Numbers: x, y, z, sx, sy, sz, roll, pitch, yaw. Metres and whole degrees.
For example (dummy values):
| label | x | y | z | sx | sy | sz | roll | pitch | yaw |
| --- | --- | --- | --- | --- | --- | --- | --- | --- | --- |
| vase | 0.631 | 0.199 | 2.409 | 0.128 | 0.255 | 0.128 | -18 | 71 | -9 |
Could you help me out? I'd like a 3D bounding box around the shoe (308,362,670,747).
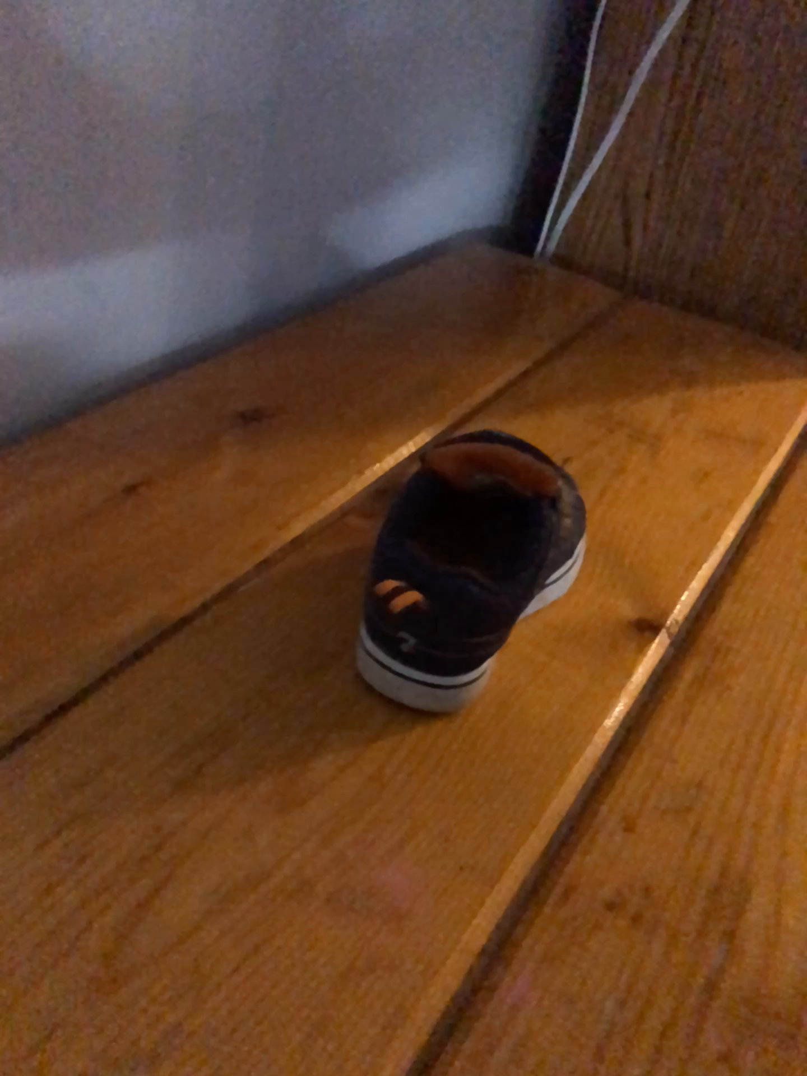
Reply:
| label | x | y | z | sx | sy | sz | roll | pitch | yaw |
| --- | --- | --- | --- | --- | --- | --- | --- | --- | --- |
| shoe | 0.040 | -0.004 | 0.369 | 0.070 | 0.070 | 0.160 | 27 | 40 | 20 |
